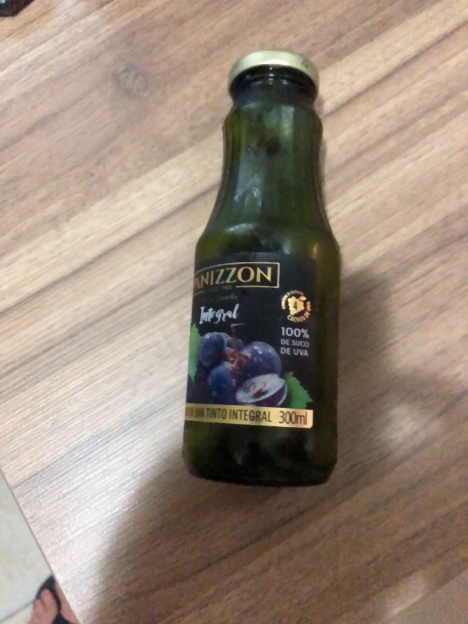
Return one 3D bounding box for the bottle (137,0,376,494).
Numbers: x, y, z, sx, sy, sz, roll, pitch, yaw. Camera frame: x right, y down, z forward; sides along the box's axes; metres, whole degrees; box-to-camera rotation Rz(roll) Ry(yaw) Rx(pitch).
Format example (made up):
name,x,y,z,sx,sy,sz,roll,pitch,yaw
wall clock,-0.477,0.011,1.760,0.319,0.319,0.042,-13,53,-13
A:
name,x,y,z,sx,sy,sz,roll,pitch,yaw
bottle,0.015,-0.031,0.236,0.070,0.070,0.200,-5,77,40
